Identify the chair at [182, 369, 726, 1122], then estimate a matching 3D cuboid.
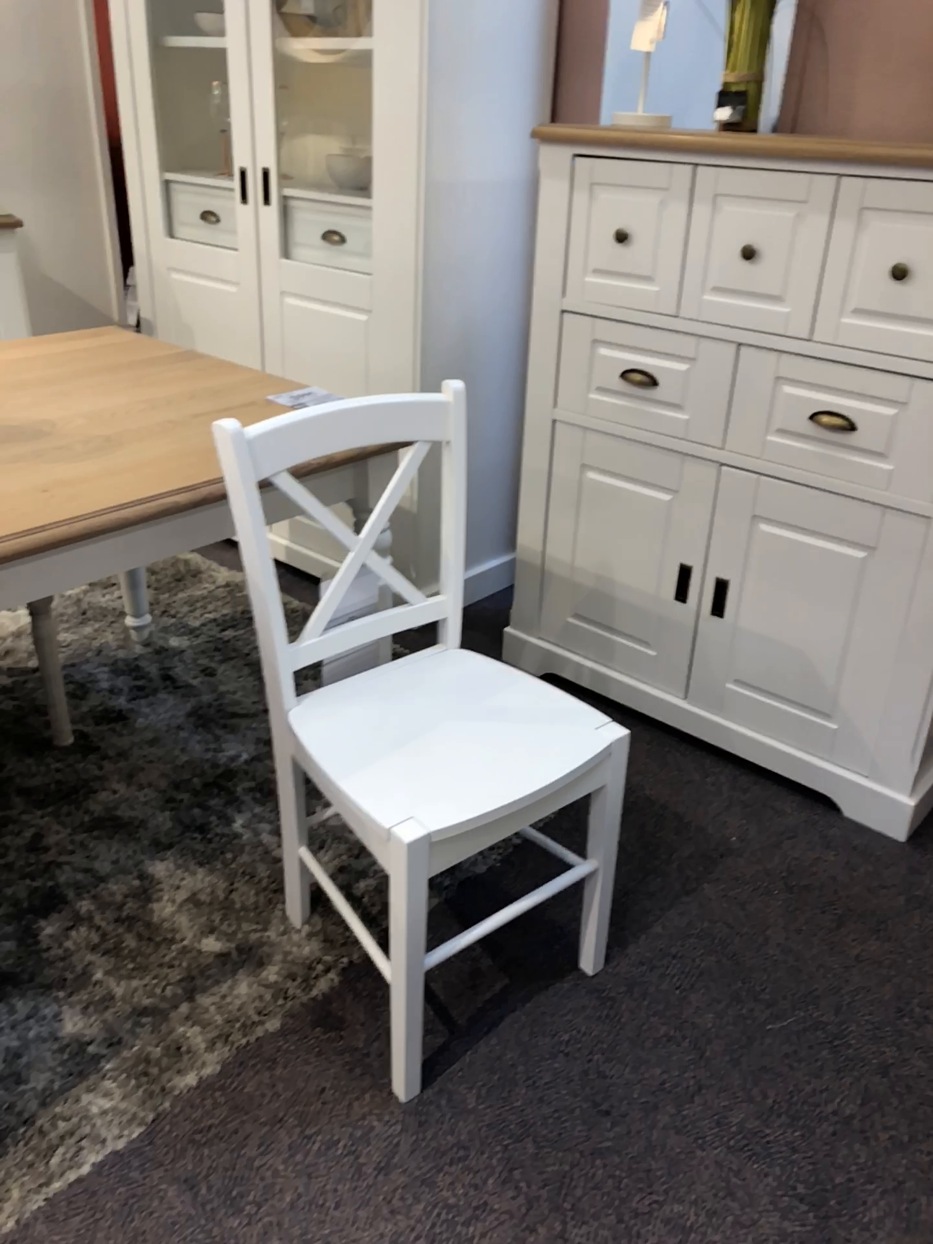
[{"bbox_3d":[-0.030,0.123,1.390,0.463,0.786,0.460,-21,34,-38],"label":"chair"}]
